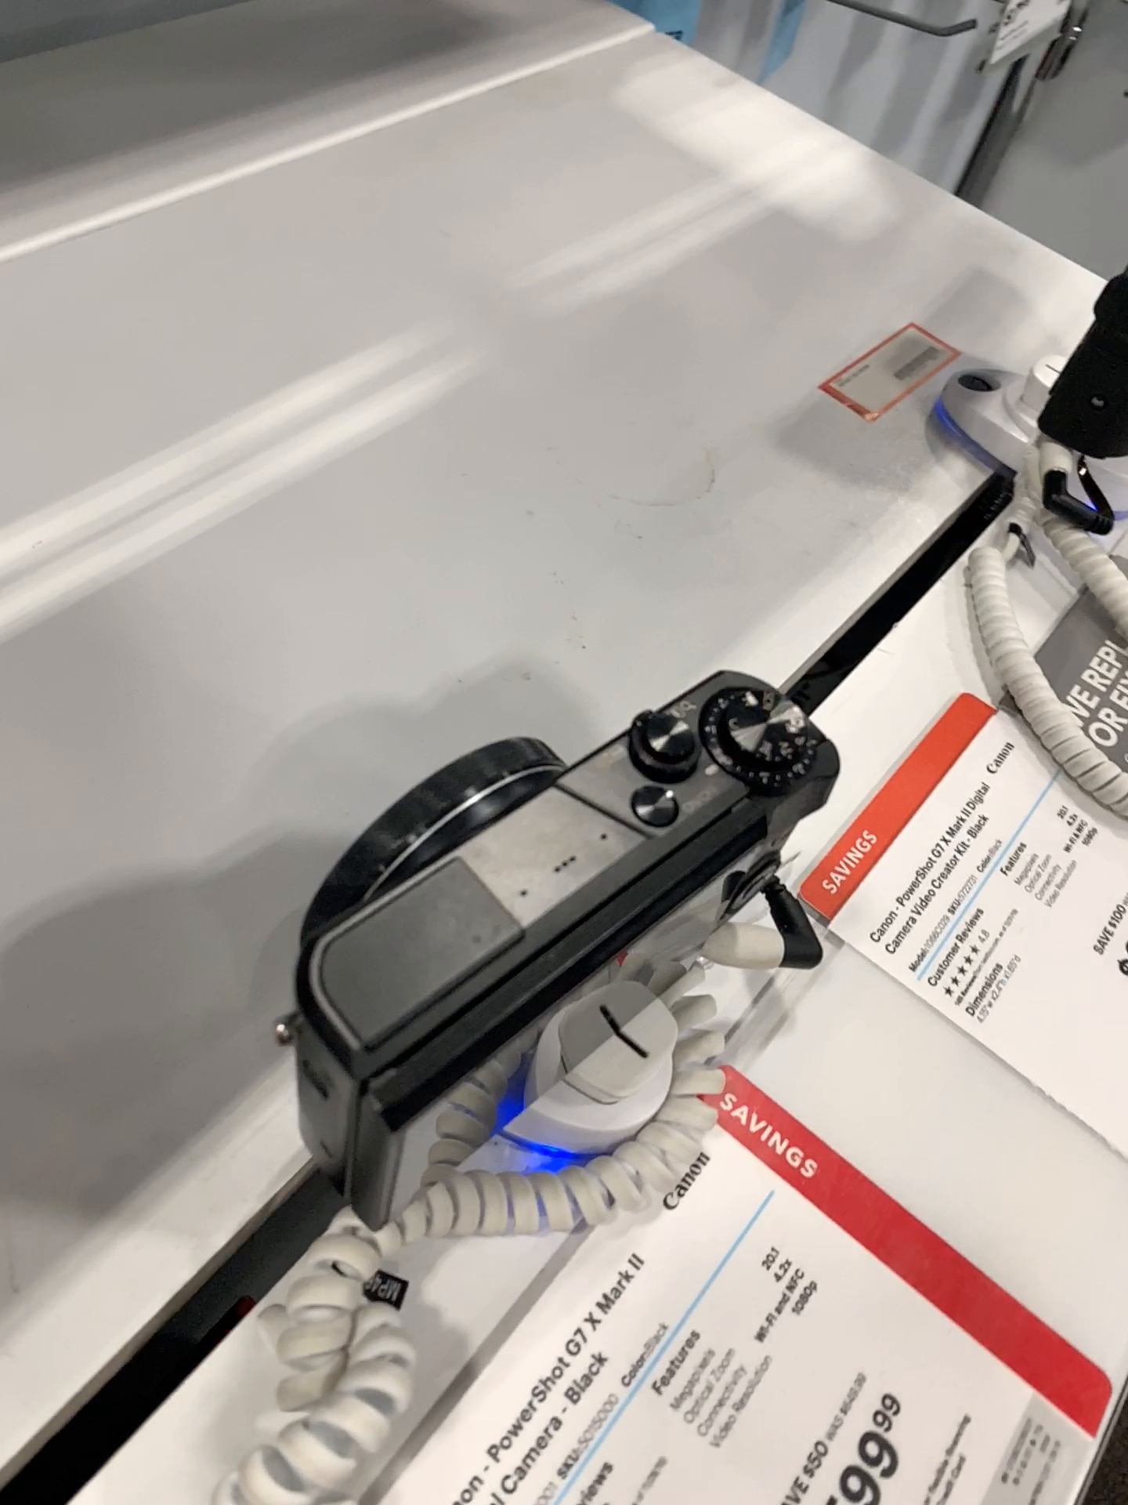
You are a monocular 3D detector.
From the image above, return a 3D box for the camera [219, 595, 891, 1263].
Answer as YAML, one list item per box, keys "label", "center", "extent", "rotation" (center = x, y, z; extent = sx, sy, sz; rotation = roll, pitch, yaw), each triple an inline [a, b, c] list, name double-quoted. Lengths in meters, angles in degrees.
- label: "camera"
  center: [-0.001, 0.028, 0.209]
  extent: [0.110, 0.060, 0.044]
  rotation: [-34, 67, -33]
